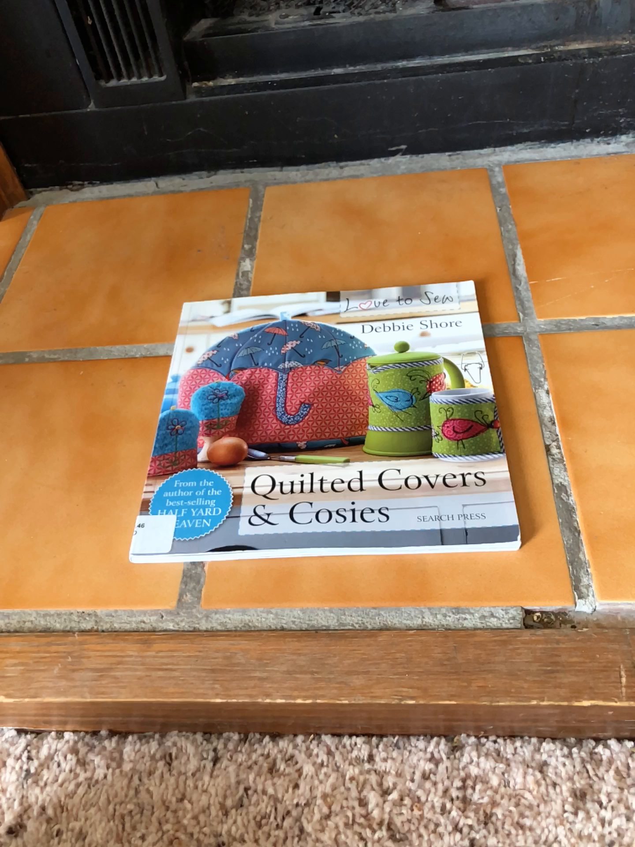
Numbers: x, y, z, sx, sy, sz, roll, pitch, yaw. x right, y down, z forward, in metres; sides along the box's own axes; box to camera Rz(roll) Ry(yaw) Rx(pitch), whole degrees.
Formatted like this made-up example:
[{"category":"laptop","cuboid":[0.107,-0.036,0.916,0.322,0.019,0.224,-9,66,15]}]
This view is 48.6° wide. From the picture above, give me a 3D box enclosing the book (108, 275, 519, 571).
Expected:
[{"category":"book","cuboid":[-0.003,-0.011,0.456,0.224,0.015,0.220,-3,51,6]}]
